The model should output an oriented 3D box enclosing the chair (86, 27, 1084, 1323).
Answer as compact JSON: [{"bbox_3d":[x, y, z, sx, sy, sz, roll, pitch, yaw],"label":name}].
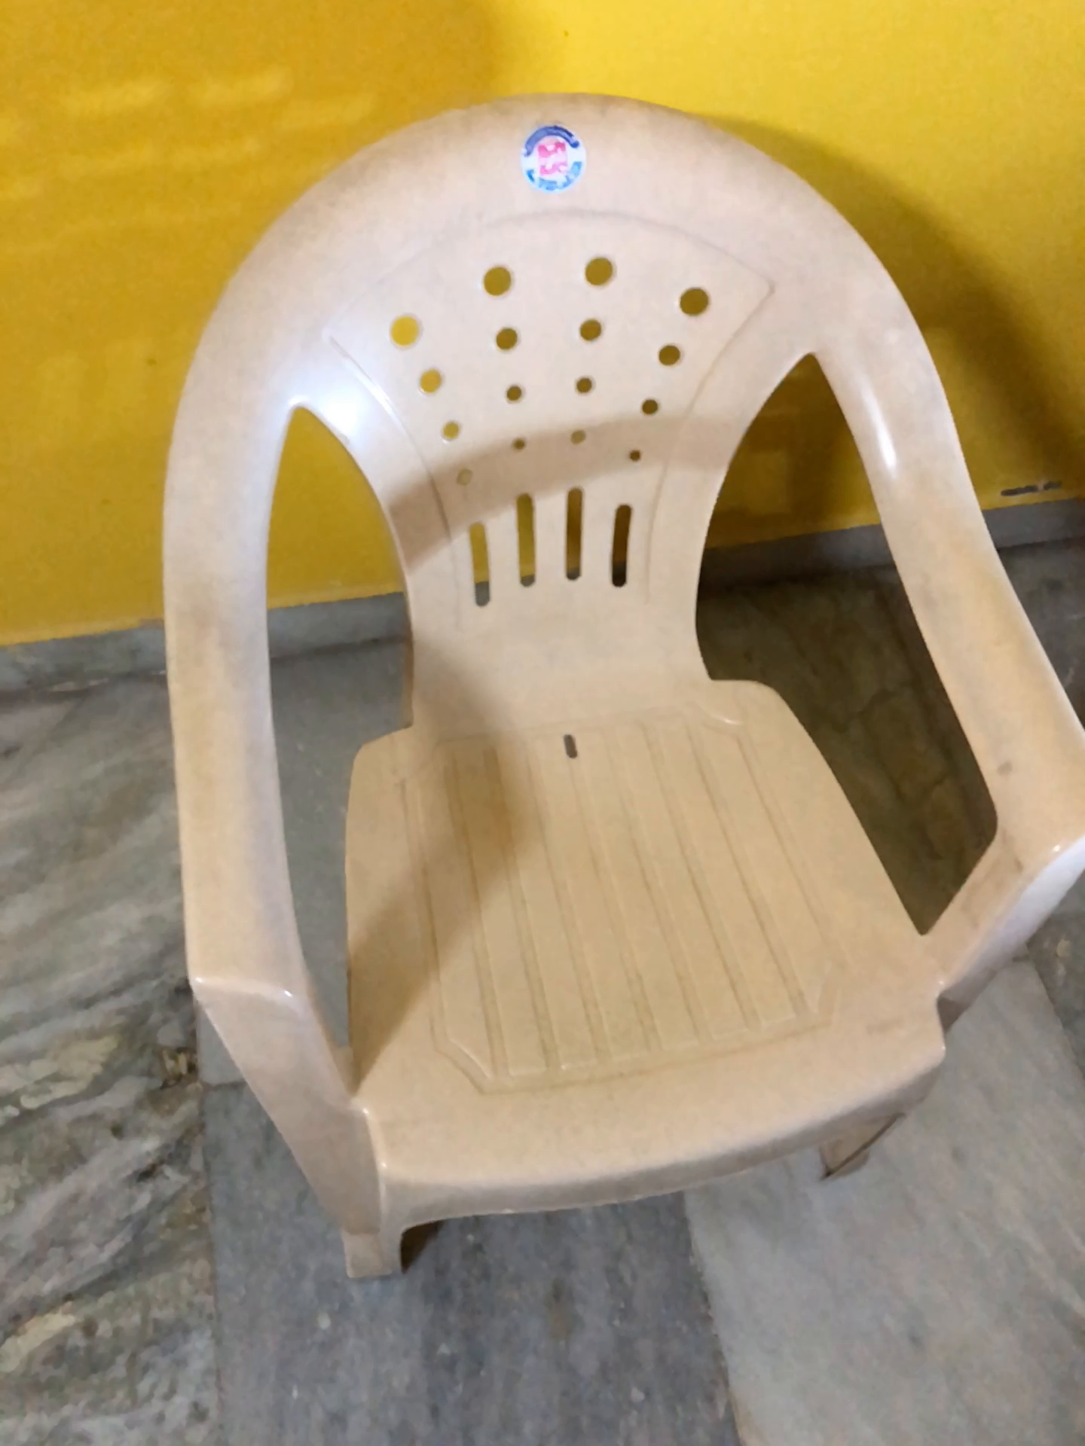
[{"bbox_3d":[0.048,0.051,0.891,0.531,0.786,0.562,-9,61,-9],"label":"chair"}]
